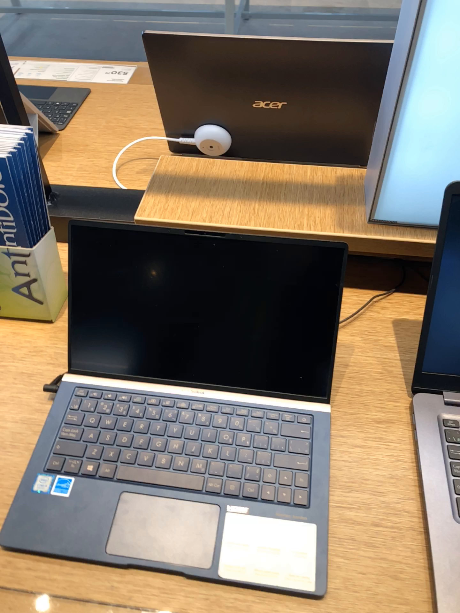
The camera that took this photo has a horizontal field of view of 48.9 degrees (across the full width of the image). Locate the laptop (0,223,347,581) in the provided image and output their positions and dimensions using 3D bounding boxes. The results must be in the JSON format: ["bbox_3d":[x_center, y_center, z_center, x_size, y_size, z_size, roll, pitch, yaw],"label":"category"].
[{"bbox_3d":[-0.045,0.072,0.484,0.276,0.130,0.277,6,51,8],"label":"laptop"}]
